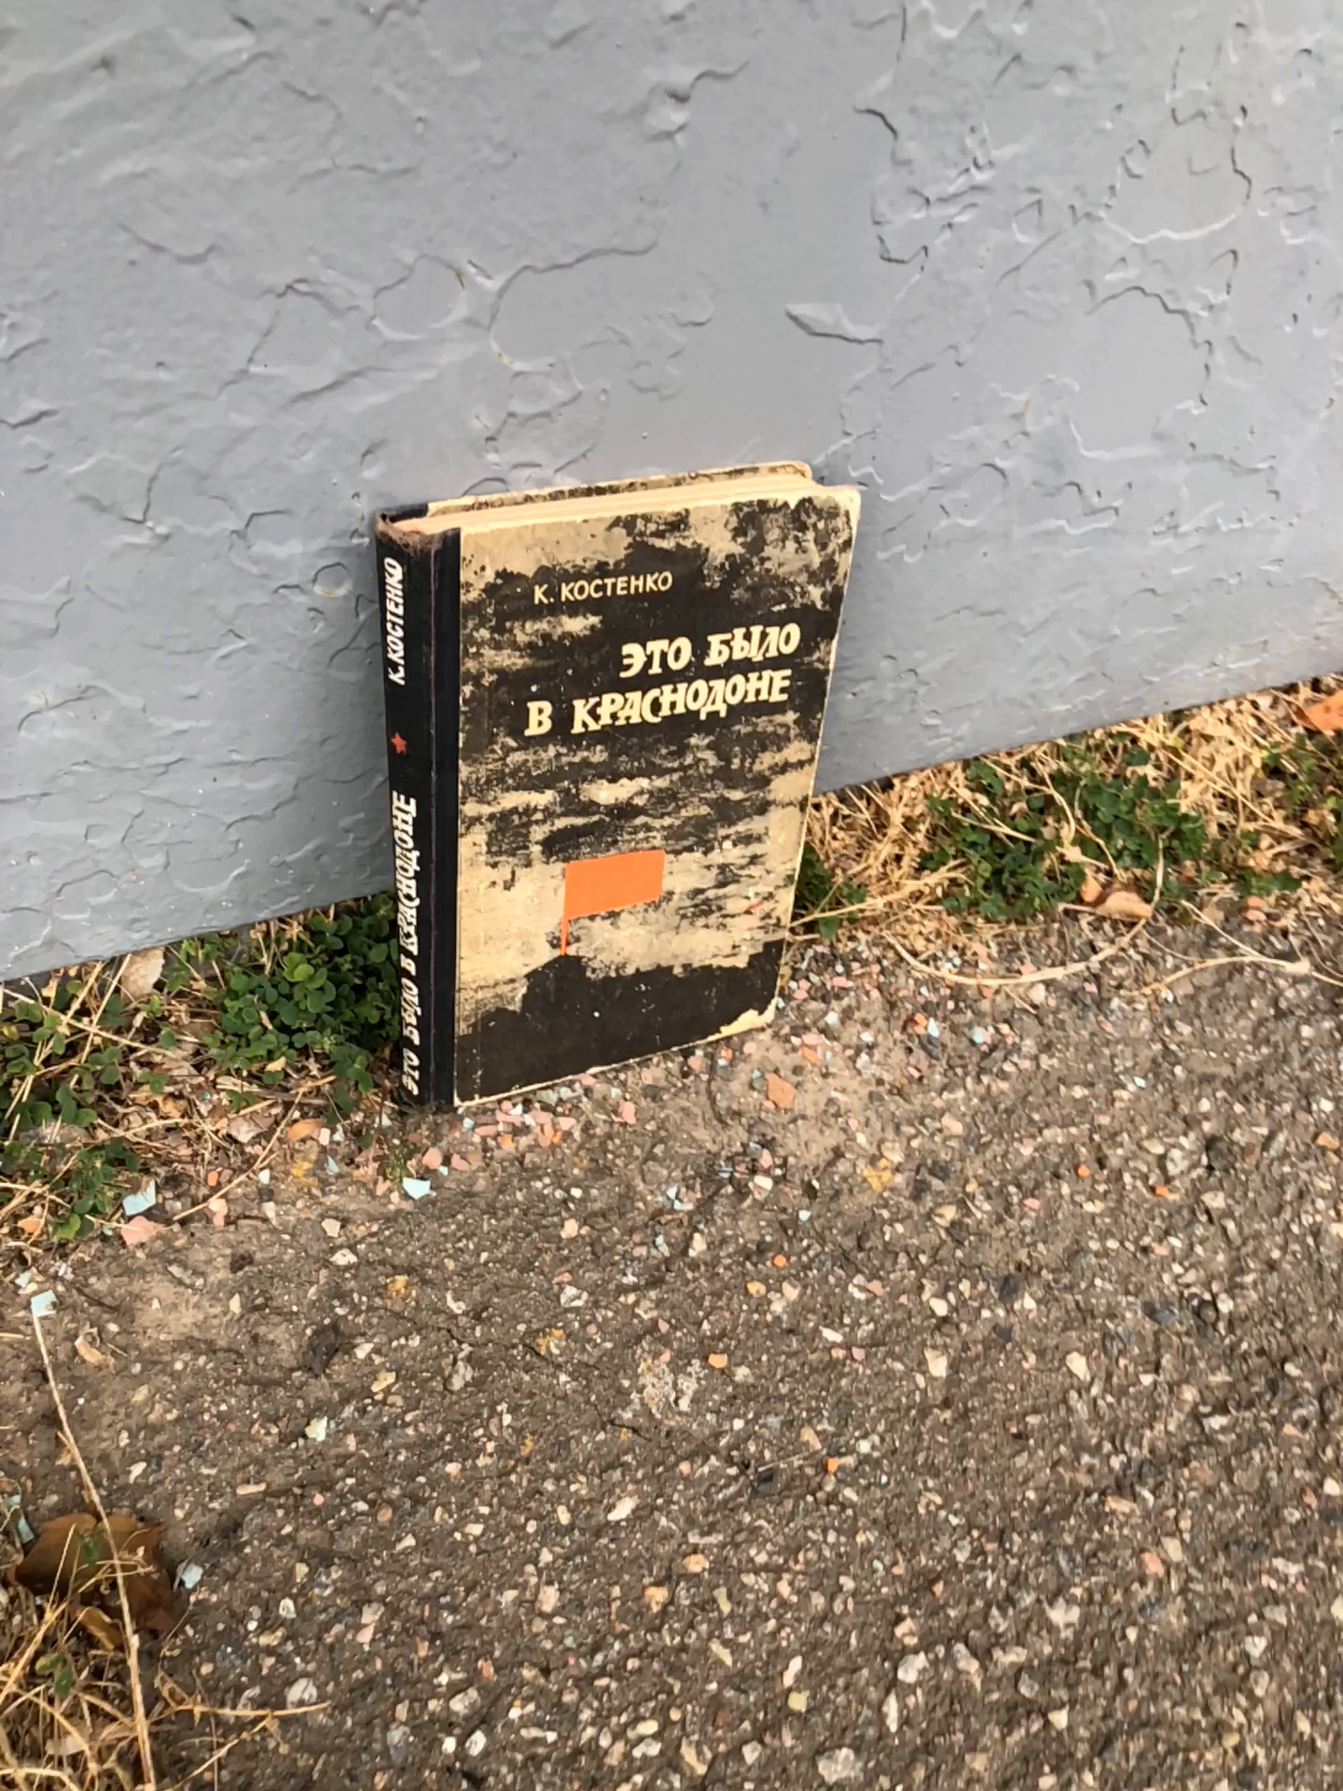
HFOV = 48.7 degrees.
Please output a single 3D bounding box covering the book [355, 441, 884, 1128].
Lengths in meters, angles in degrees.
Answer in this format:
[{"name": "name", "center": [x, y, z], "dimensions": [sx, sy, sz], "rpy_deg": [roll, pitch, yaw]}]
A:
[{"name": "book", "center": [-0.017, -0.029, 0.452], "dimensions": [0.140, 0.199, 0.030], "rpy_deg": [-13, 39, -22]}]
